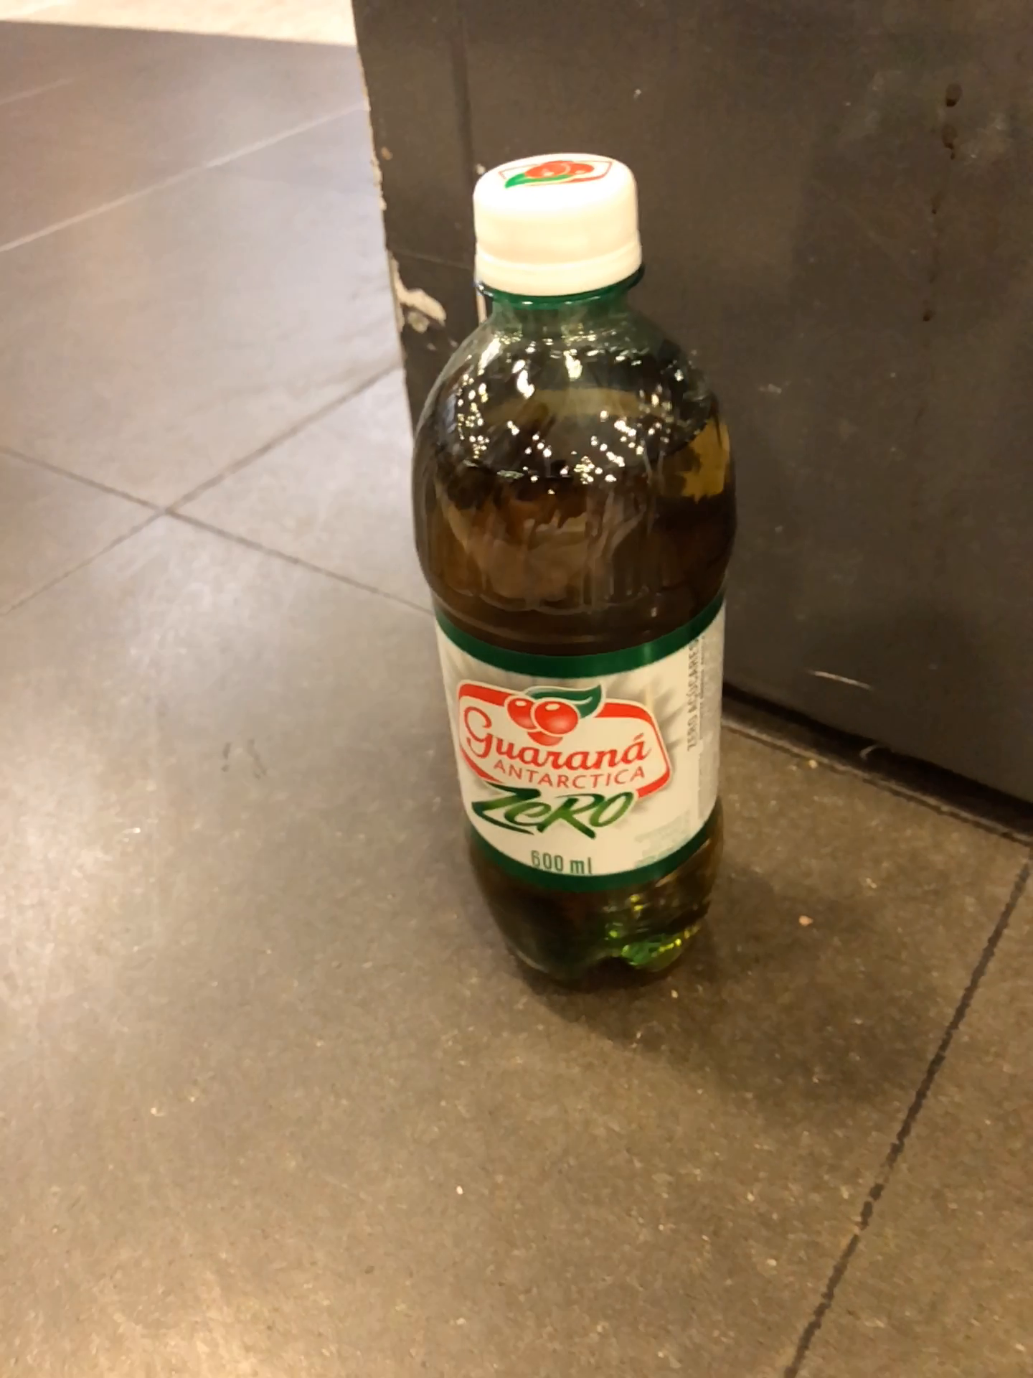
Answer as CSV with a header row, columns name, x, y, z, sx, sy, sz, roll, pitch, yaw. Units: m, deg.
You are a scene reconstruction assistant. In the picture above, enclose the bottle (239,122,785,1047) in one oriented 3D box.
name,x,y,z,sx,sy,sz,roll,pitch,yaw
bottle,0.009,-0.014,0.281,0.080,0.208,0.070,13,43,21
